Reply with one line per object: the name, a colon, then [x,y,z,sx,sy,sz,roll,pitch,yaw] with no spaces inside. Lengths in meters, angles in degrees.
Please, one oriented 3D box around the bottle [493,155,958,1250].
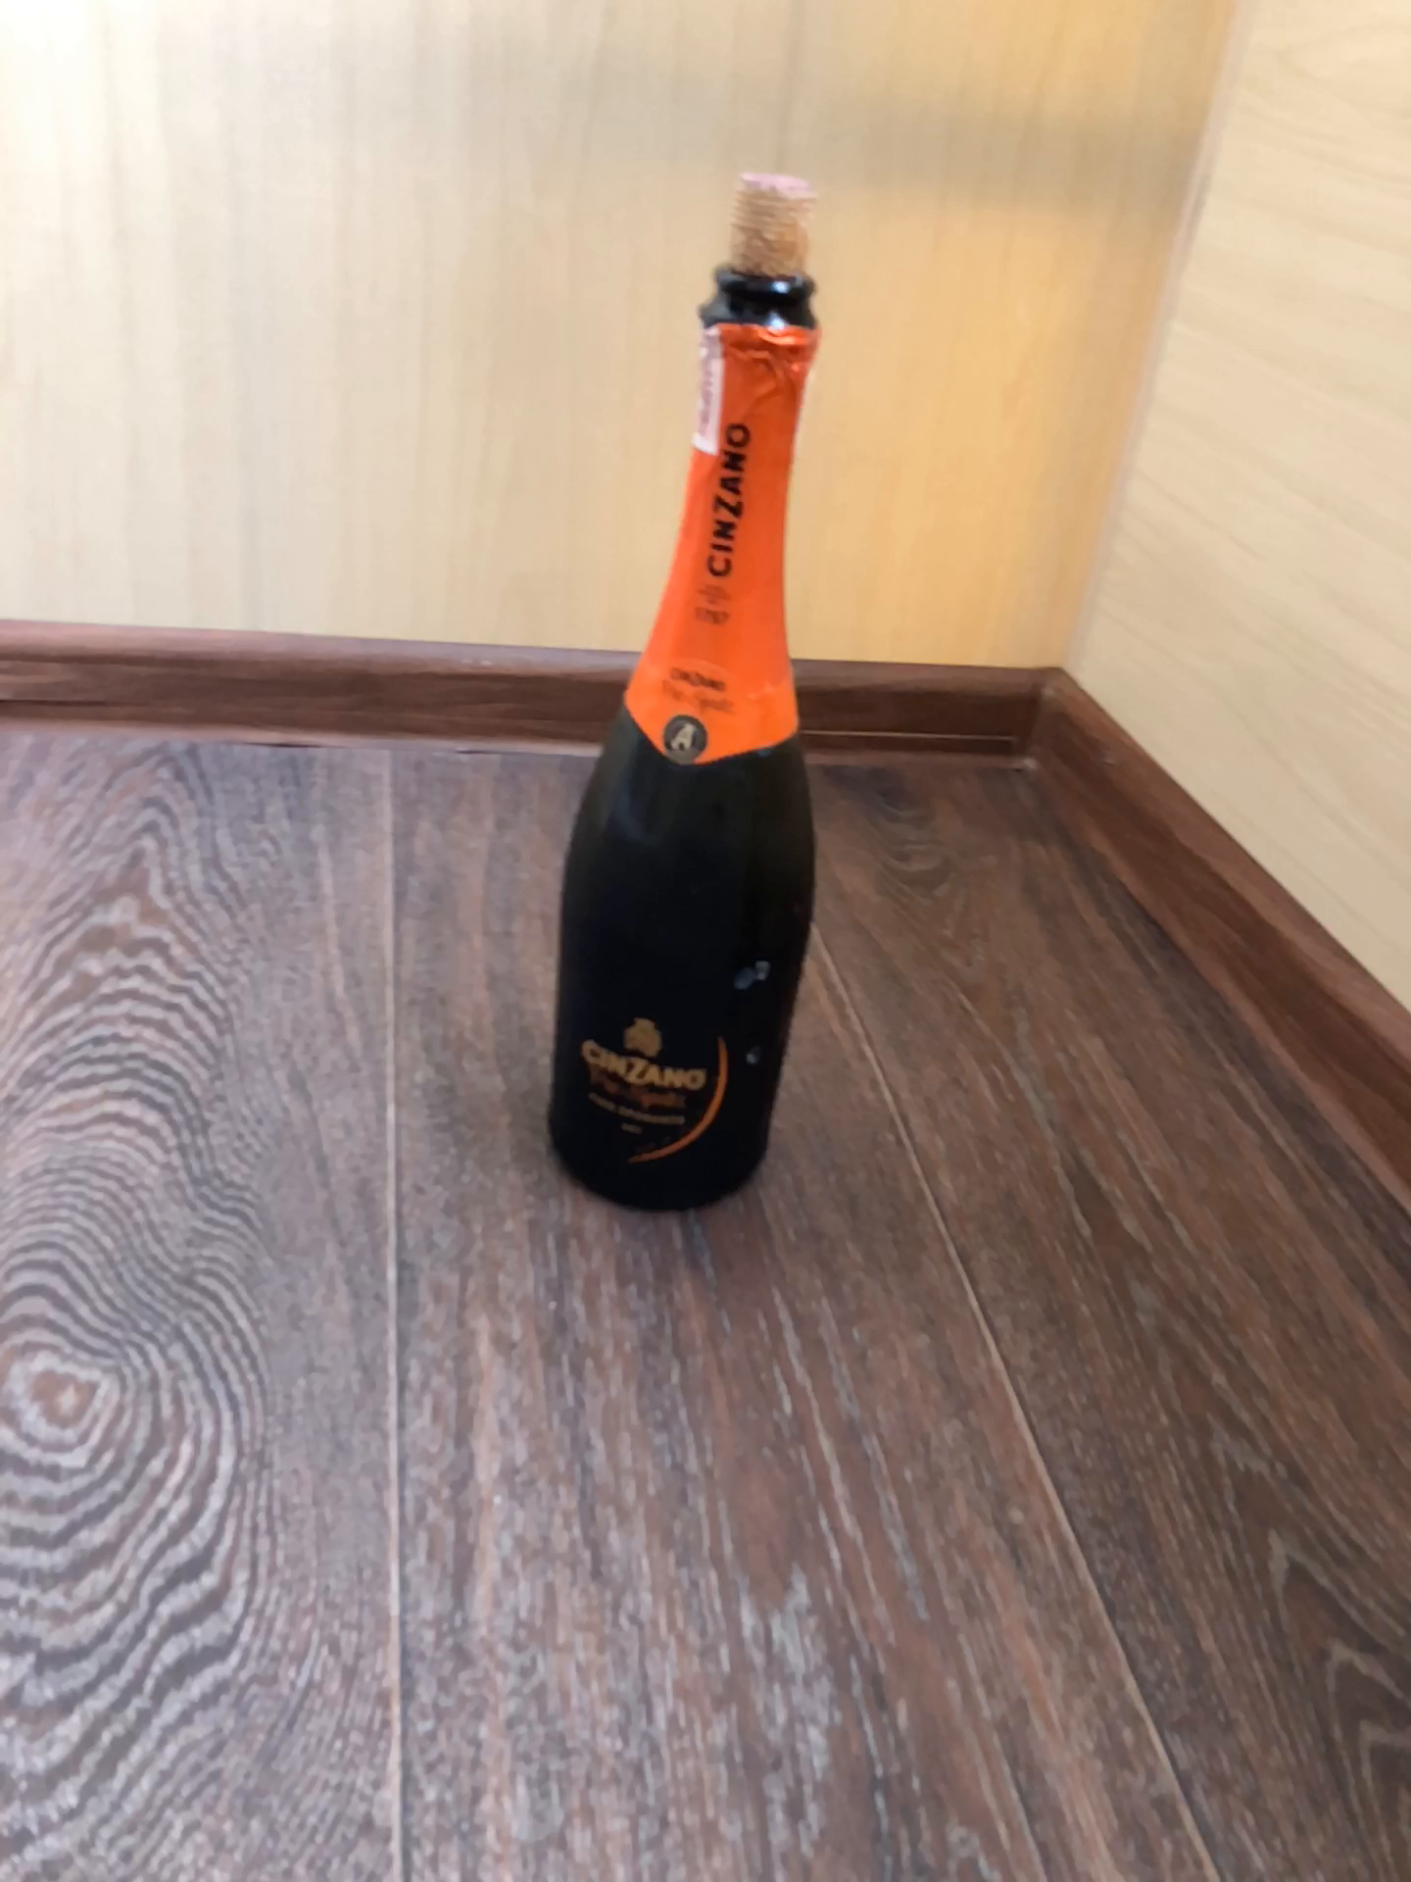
bottle: [-0.001,-0.065,0.503,0.092,0.328,0.101,6,31,-4]
